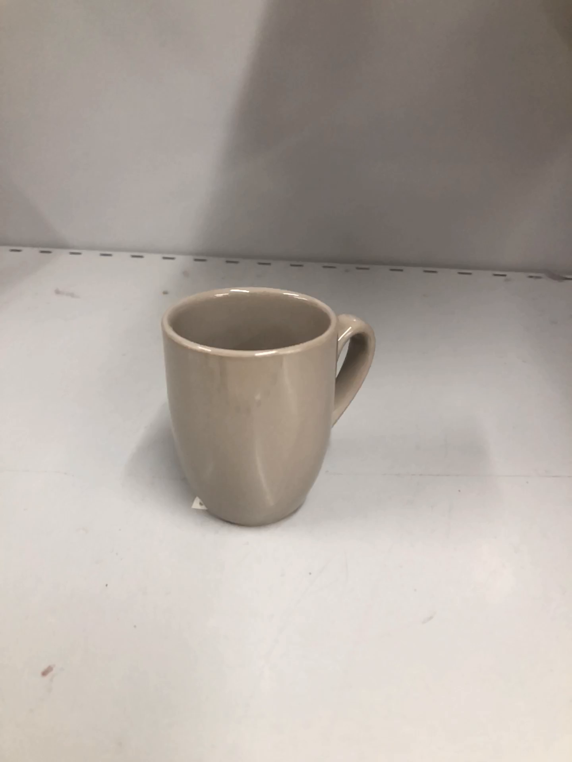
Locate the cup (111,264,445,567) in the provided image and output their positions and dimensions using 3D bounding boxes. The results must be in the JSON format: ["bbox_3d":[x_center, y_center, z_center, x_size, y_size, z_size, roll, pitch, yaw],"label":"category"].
[{"bbox_3d":[-0.003,0.005,0.227,0.092,0.062,0.064,-18,34,-31],"label":"cup"}]
